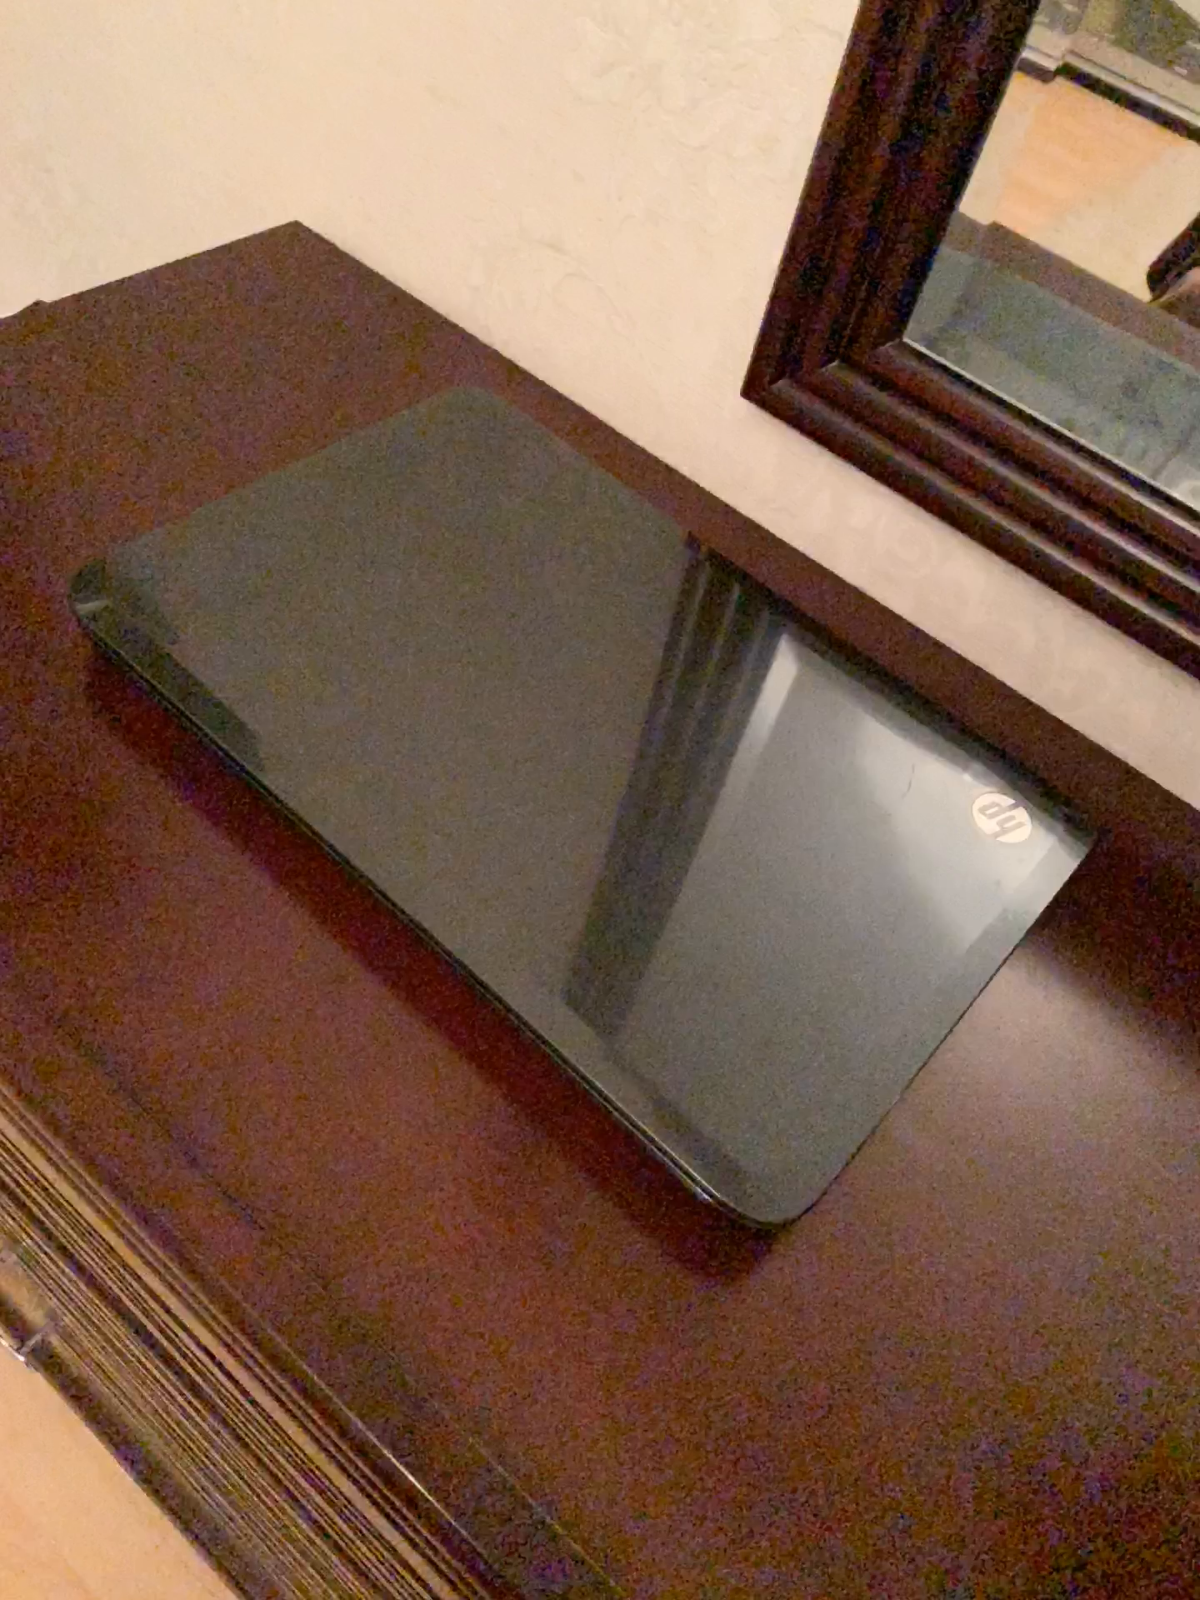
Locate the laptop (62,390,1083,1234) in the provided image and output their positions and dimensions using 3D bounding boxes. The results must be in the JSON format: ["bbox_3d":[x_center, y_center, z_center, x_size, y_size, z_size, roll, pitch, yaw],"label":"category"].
[{"bbox_3d":[-0.004,-0.031,0.485,0.341,0.007,0.224,39,55,15],"label":"laptop"}]
